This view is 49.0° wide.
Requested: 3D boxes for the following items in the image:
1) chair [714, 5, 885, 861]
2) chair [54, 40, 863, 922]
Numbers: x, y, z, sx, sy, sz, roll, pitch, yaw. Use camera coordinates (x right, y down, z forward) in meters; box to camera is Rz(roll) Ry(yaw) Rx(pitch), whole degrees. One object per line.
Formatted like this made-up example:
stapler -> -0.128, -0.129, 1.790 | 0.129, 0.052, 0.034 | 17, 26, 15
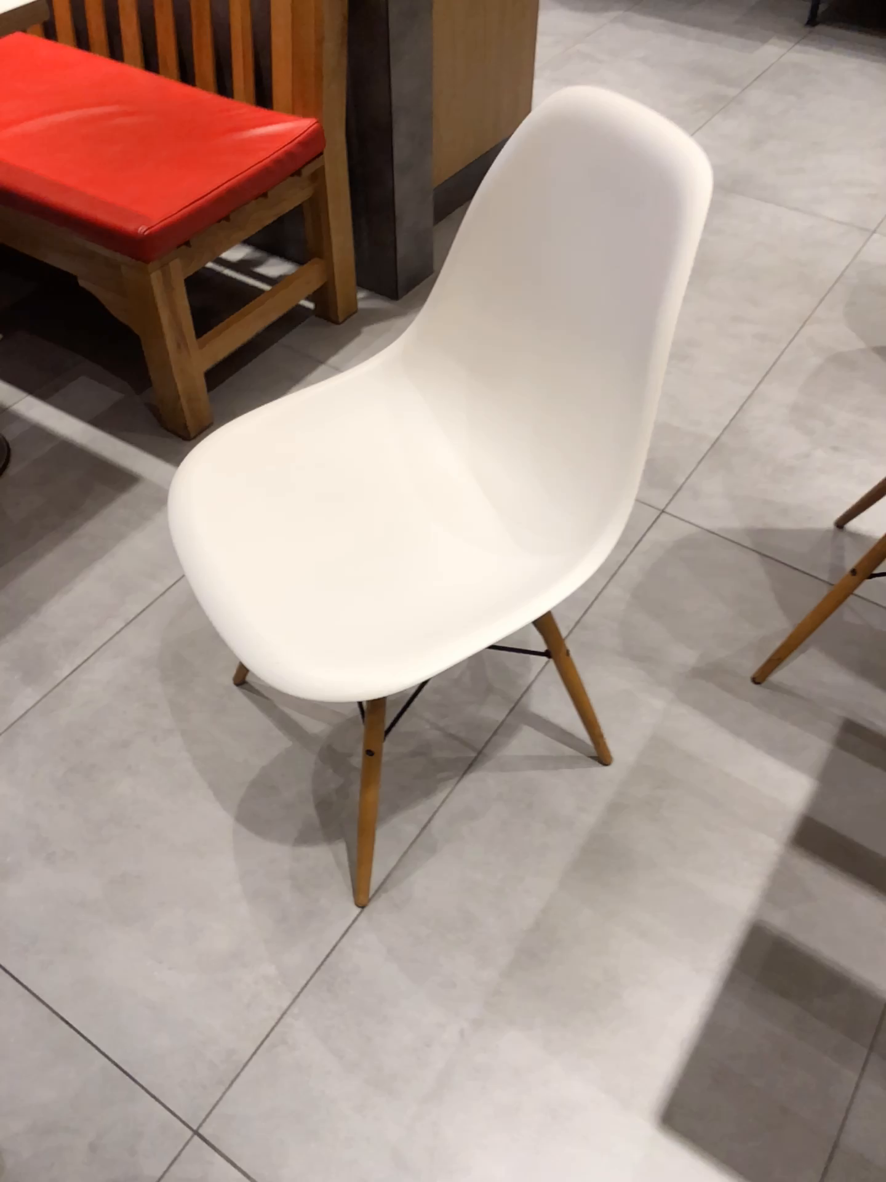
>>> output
chair -> 0.780, -0.185, 1.237 | 0.513, 0.769, 0.563 | 27, 53, 22
chair -> -0.006, -0.103, 1.152 | 0.553, 0.779, 0.473 | -24, 53, -20
